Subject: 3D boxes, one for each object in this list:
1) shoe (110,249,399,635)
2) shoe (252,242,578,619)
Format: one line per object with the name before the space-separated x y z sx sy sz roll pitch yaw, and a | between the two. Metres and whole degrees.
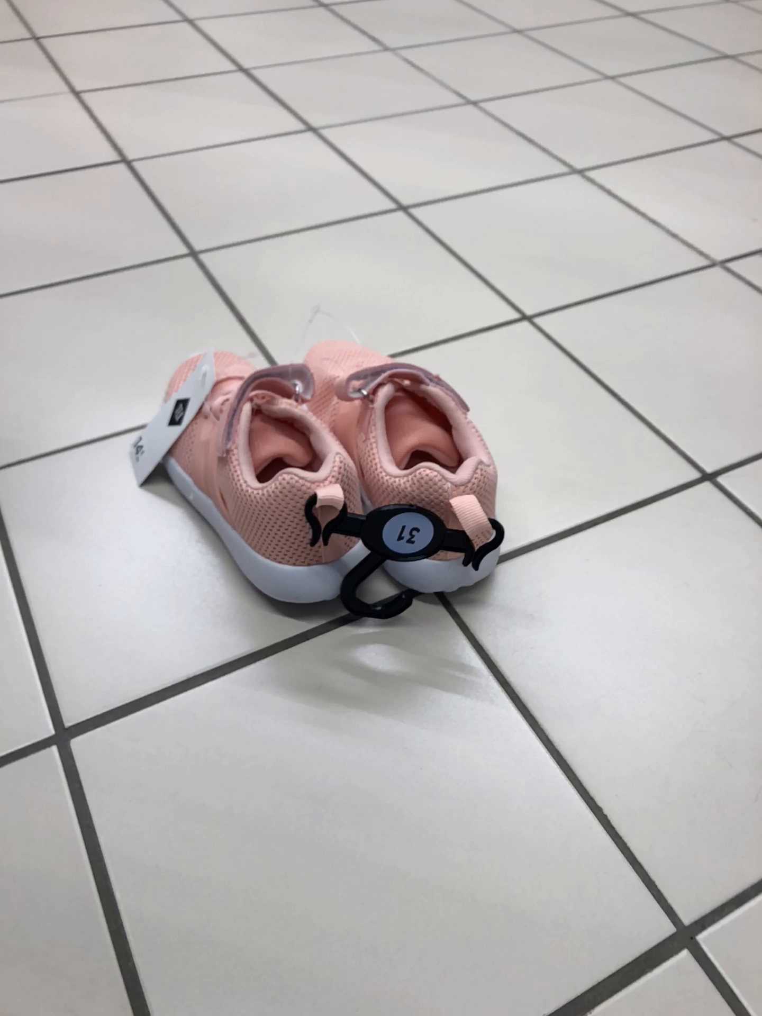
shoe | -0.075 -0.047 0.468 0.083 0.093 0.204 -18 48 -20
shoe | 0.007 -0.055 0.480 0.080 0.091 0.210 -19 49 -21
